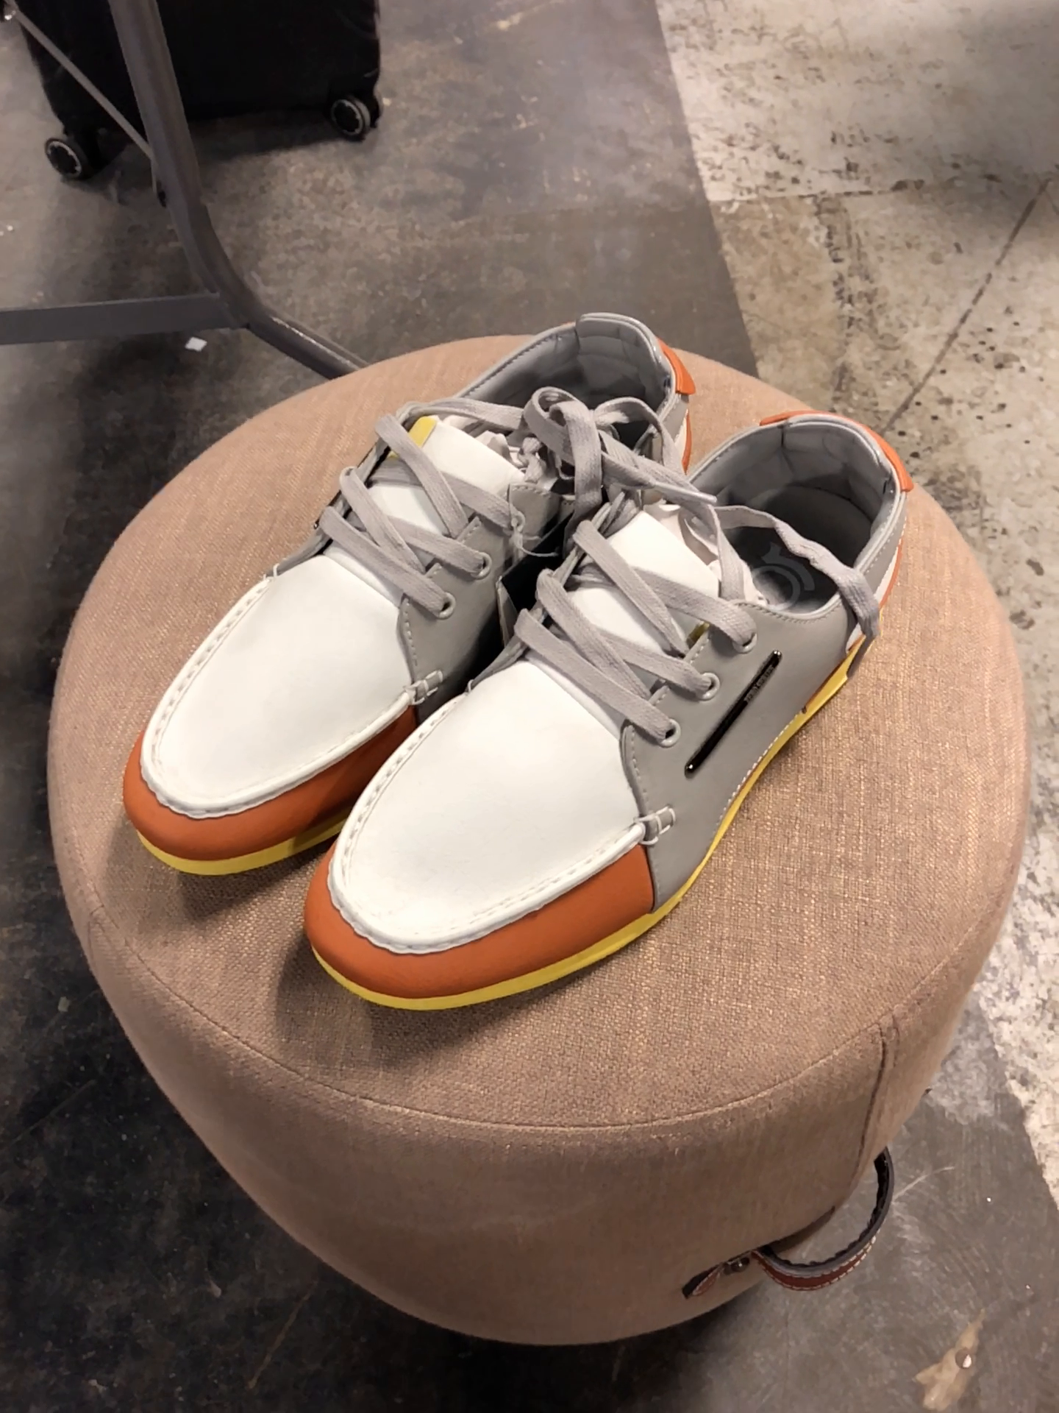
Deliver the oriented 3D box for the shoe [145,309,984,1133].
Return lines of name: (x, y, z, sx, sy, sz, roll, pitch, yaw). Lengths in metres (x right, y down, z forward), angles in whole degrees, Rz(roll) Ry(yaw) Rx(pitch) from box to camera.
shoe: (0.022, -0.007, 0.377, 0.100, 0.099, 0.251, 36, 63, 24)

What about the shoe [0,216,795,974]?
shoe: (-0.035, -0.053, 0.425, 0.100, 0.099, 0.281, 36, 63, 24)
